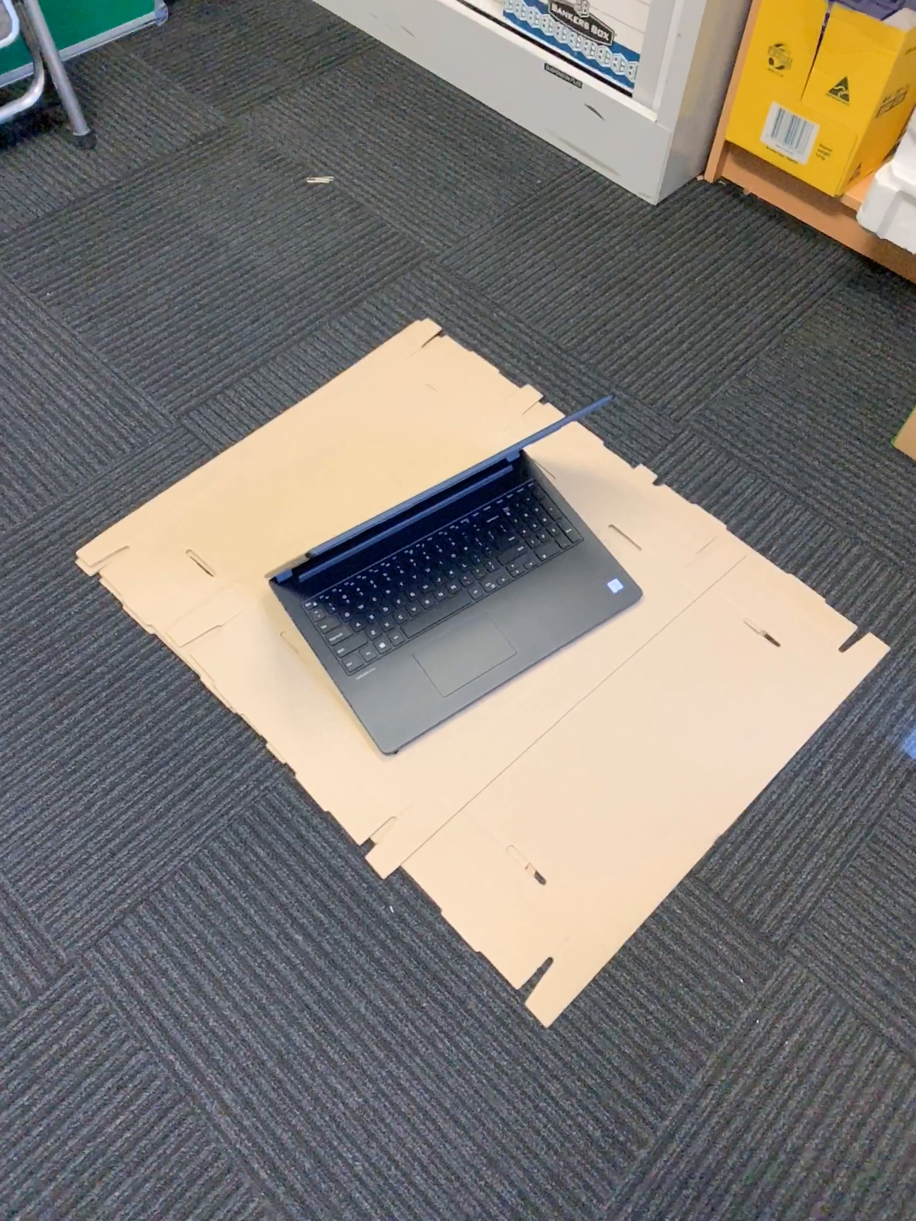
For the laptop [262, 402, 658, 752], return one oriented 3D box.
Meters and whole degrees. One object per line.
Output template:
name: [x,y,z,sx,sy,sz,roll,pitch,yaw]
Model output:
laptop: [0.004,-0.046,0.980,0.341,0.085,0.221,-30,68,-19]
